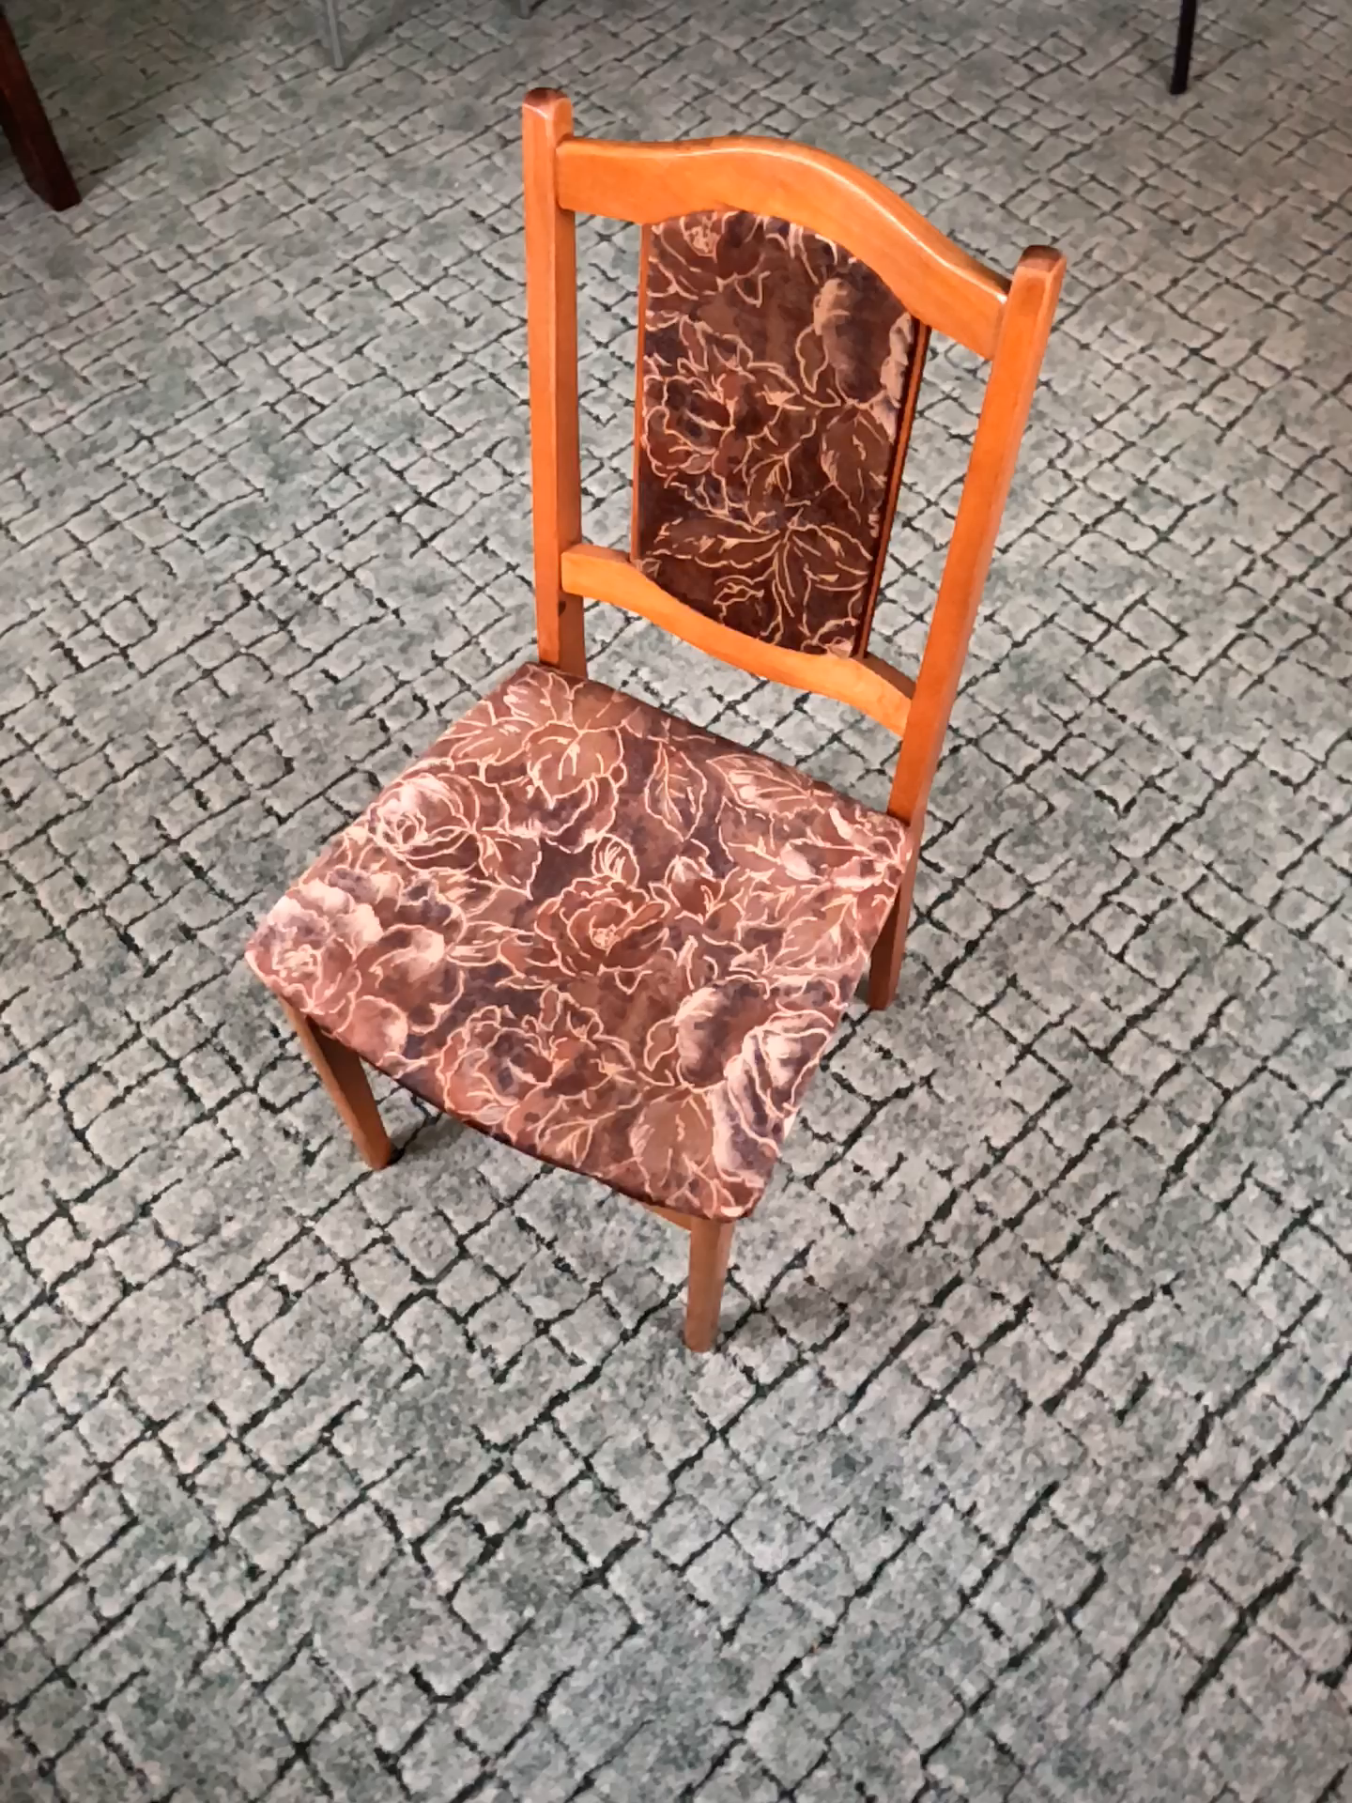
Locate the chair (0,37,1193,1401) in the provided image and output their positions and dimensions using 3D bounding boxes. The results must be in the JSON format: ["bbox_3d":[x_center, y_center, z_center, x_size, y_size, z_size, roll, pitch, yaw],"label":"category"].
[{"bbox_3d":[-0.025,-0.067,1.215,0.481,0.875,0.552,27,63,17],"label":"chair"}]
